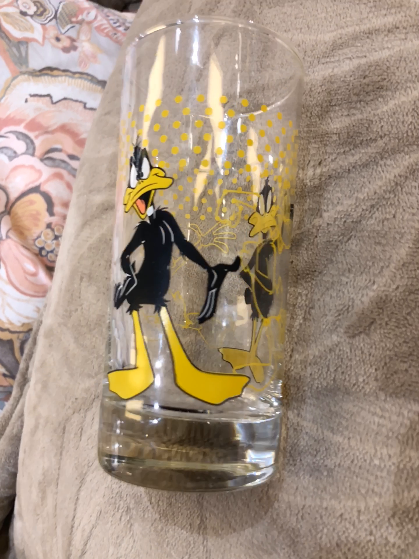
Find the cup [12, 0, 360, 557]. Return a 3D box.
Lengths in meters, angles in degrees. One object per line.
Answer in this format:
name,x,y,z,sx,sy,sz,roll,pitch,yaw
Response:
cup,0.002,-0.012,0.159,0.070,0.070,0.160,-3,73,35
